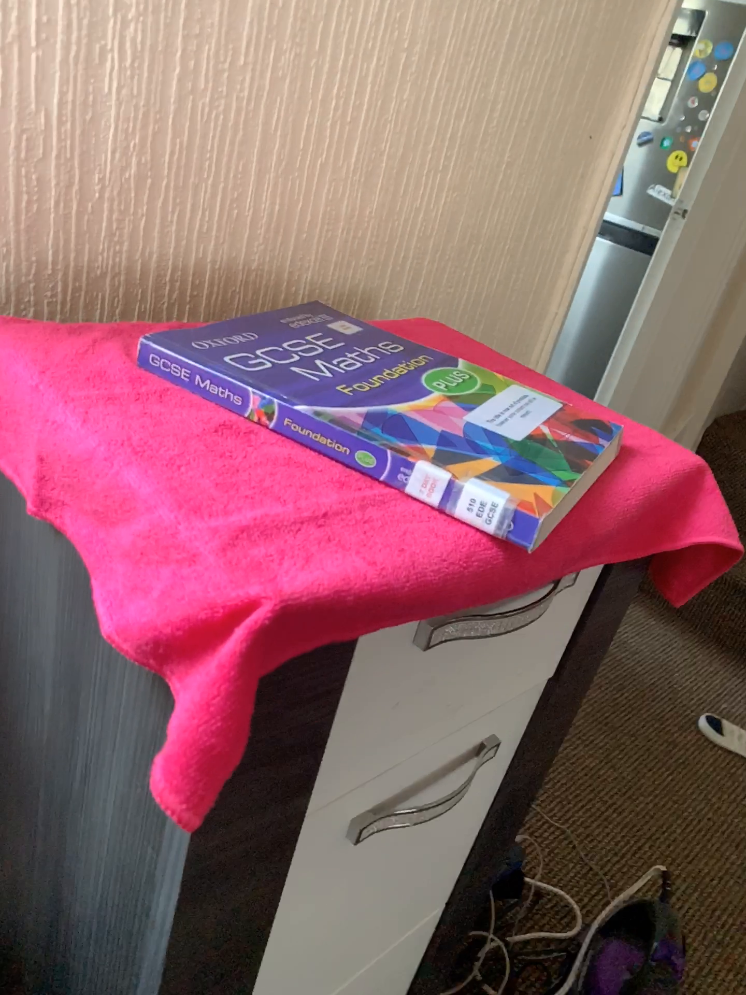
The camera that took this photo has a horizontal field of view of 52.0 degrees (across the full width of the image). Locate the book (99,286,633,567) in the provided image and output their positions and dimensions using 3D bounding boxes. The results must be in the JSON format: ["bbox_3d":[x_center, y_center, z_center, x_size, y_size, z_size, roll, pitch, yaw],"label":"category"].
[{"bbox_3d":[0.008,-0.069,0.491,0.280,0.030,0.212,26,28,19],"label":"book"}]
